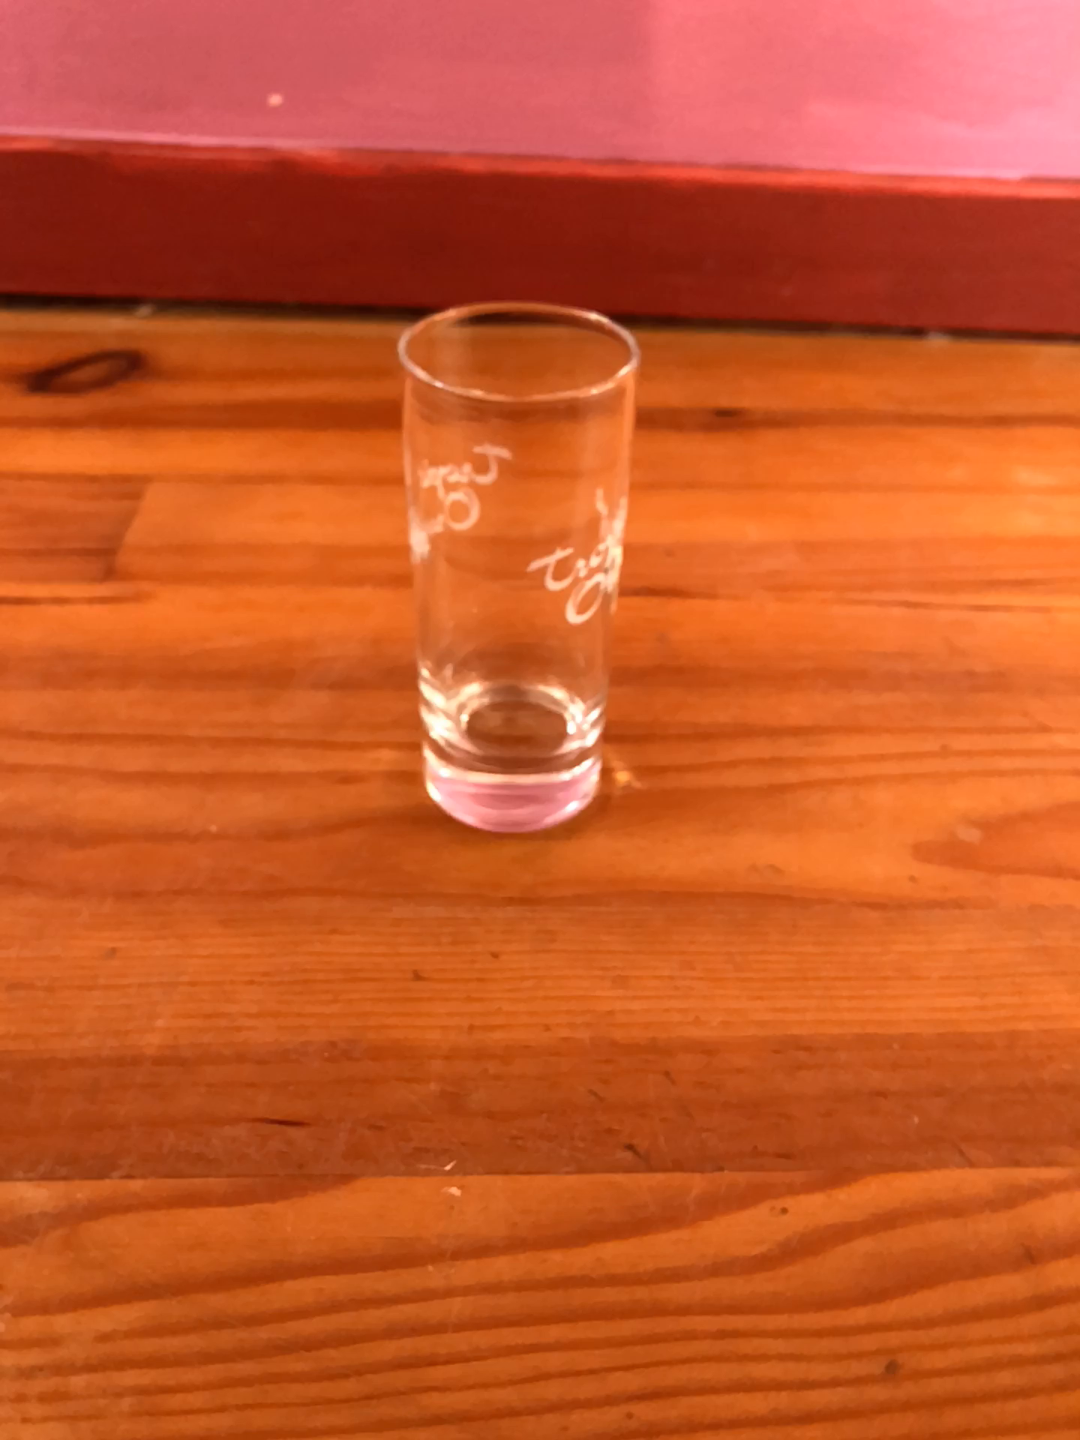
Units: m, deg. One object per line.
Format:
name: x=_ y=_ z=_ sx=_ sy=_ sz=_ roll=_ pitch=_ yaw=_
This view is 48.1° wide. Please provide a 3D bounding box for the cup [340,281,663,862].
cup: x=-0.008 y=-0.034 z=0.299 sx=0.056 sy=0.124 sz=0.056 roll=1 pitch=38 yaw=-1
